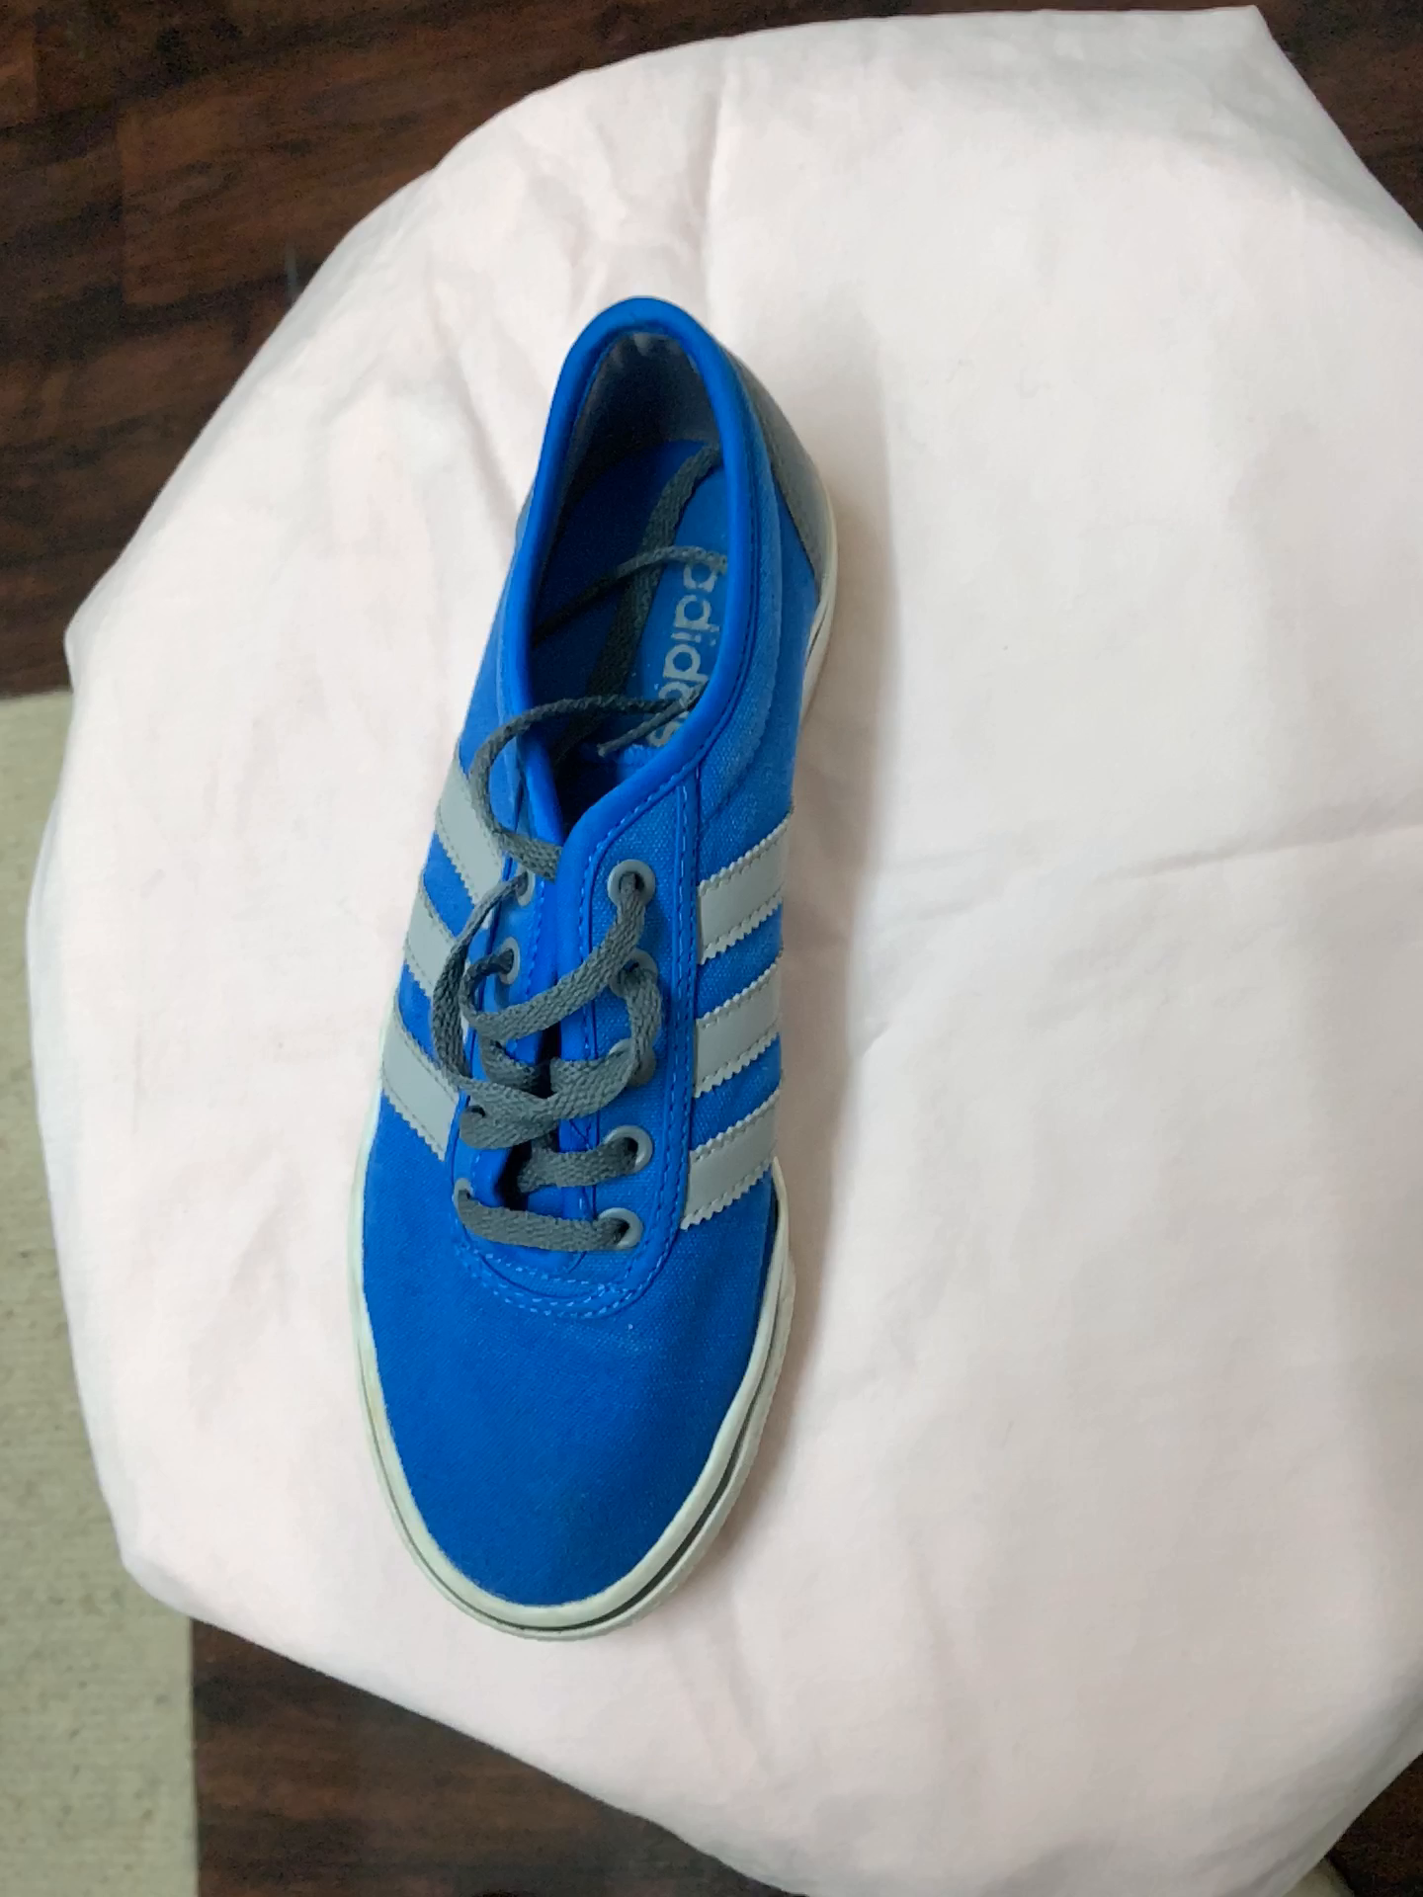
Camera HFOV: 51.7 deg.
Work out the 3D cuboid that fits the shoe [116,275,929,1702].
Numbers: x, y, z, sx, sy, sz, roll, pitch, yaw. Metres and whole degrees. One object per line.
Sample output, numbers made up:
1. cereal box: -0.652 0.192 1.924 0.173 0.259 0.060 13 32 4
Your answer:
1. shoe: -0.027 0.001 0.295 0.100 0.090 0.234 8 85 14
